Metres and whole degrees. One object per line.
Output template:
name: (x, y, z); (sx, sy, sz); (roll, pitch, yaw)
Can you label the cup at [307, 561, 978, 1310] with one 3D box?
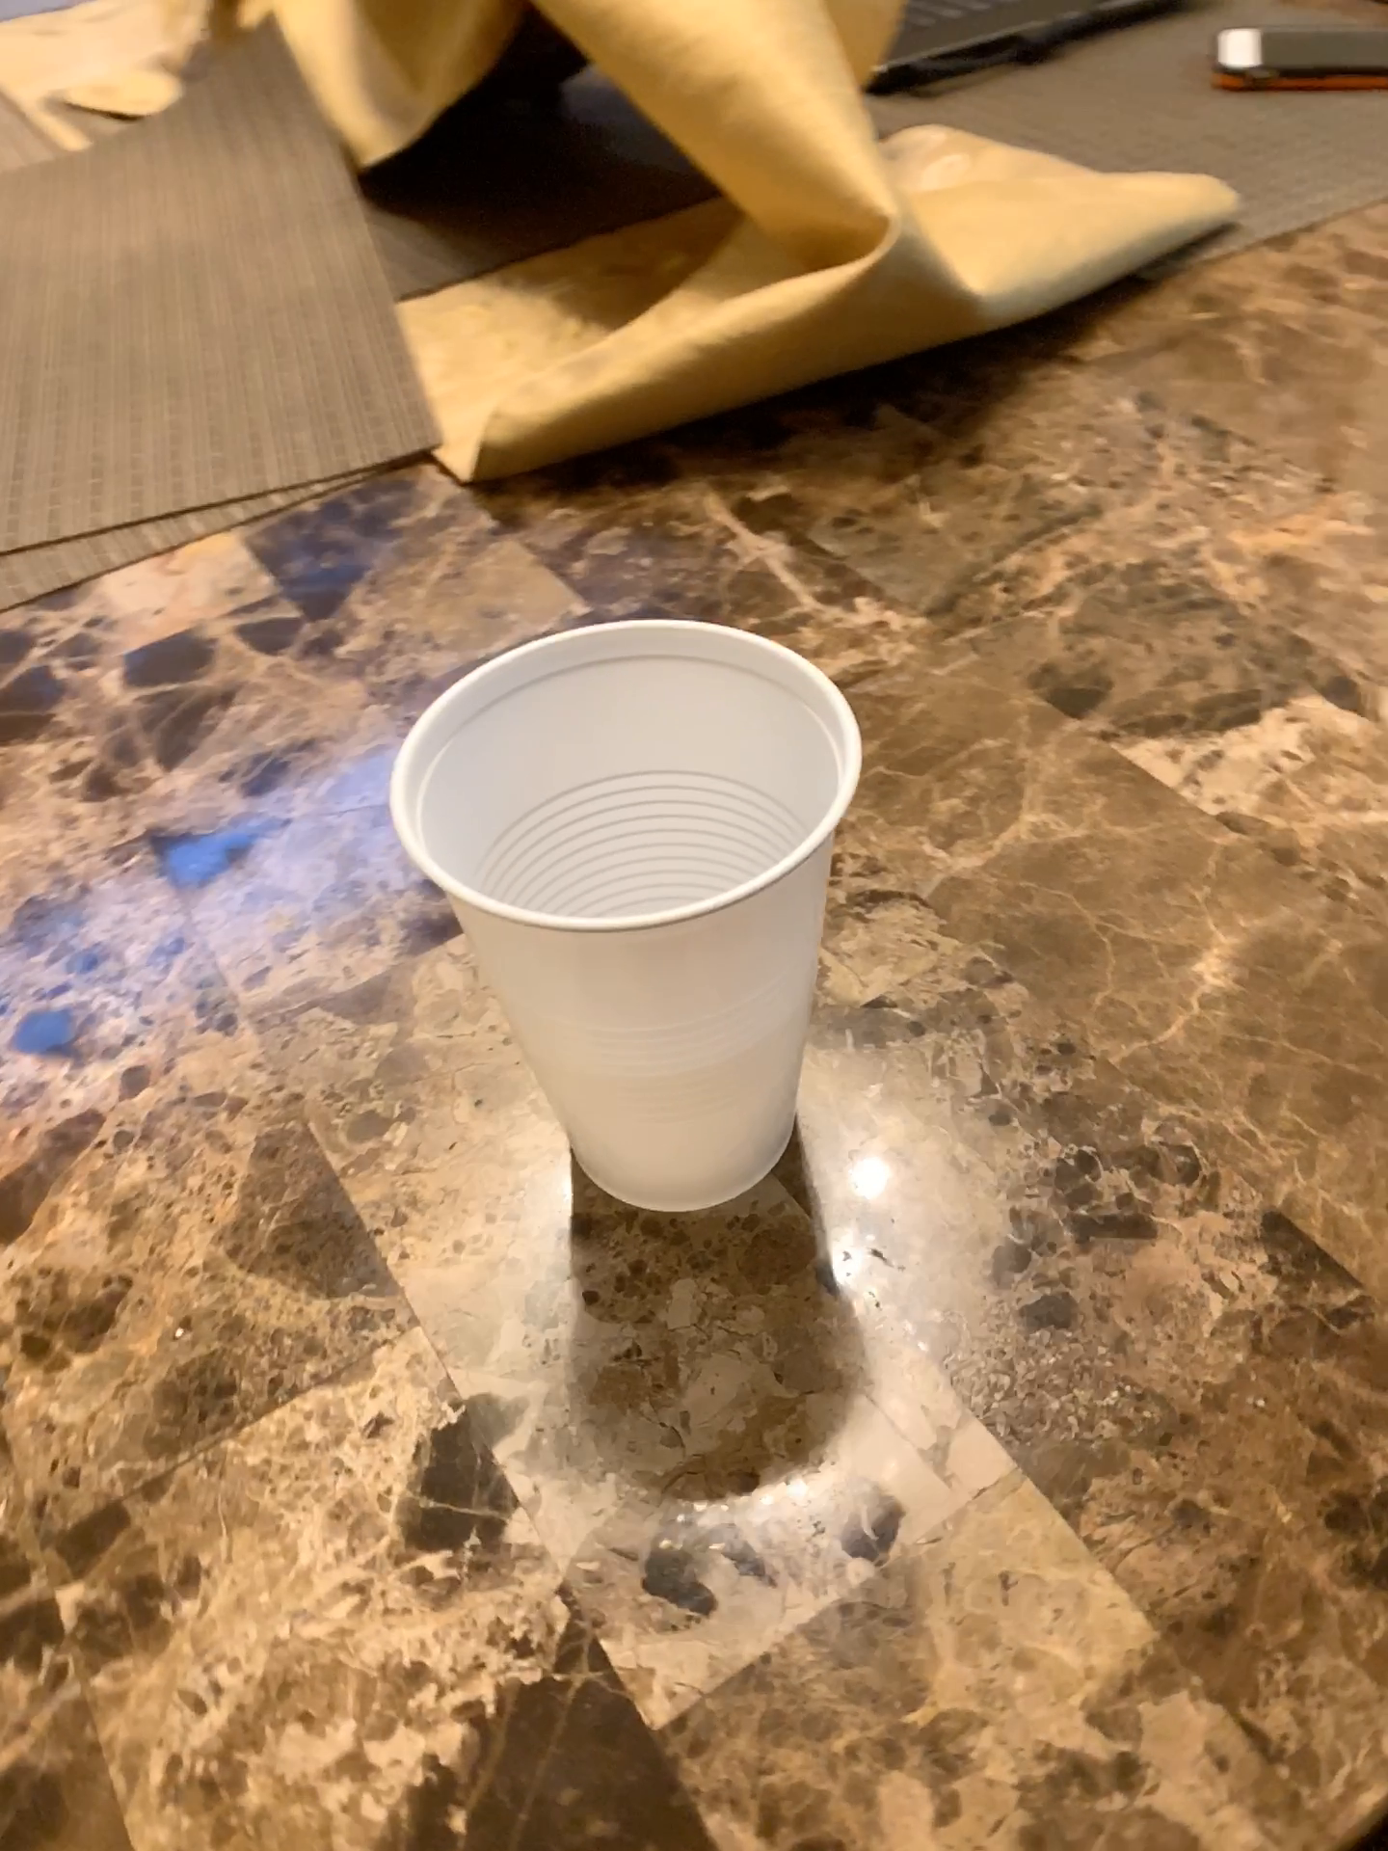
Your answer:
cup: (-0.006, -0.001, 0.266); (0.081, 0.083, 0.078); (-4, 44, 4)
